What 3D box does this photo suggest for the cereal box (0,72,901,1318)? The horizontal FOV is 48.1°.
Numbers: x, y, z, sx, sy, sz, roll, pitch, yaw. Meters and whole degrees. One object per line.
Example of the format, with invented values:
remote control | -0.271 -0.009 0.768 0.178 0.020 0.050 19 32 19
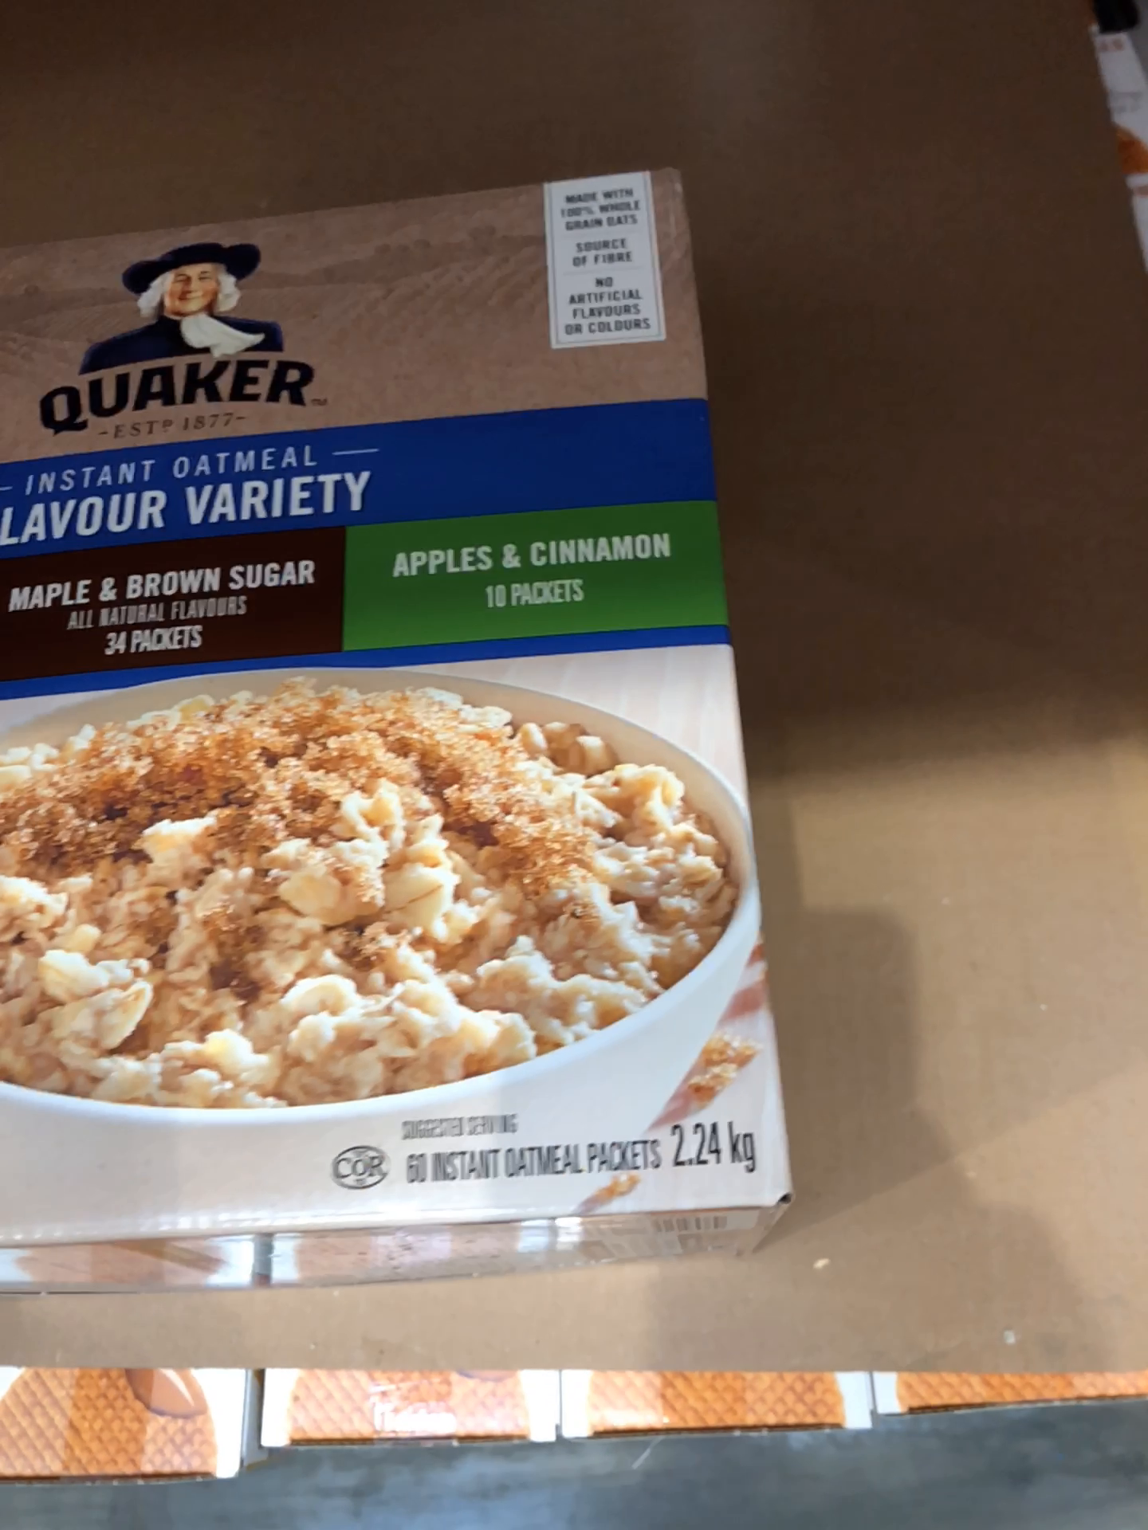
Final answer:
cereal box | -0.064 0.002 0.353 0.240 0.200 0.260 -5 65 4
